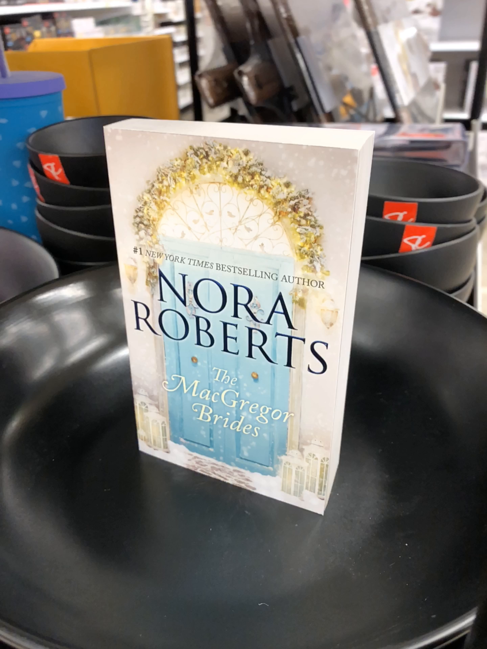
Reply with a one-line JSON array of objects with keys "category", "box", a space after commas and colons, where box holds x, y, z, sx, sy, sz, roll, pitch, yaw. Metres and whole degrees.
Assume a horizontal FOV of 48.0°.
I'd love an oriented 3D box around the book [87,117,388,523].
[{"category": "book", "box": [-0.002, -0.001, 0.252, 0.111, 0.168, 0.040, 12, 31, 24]}]
